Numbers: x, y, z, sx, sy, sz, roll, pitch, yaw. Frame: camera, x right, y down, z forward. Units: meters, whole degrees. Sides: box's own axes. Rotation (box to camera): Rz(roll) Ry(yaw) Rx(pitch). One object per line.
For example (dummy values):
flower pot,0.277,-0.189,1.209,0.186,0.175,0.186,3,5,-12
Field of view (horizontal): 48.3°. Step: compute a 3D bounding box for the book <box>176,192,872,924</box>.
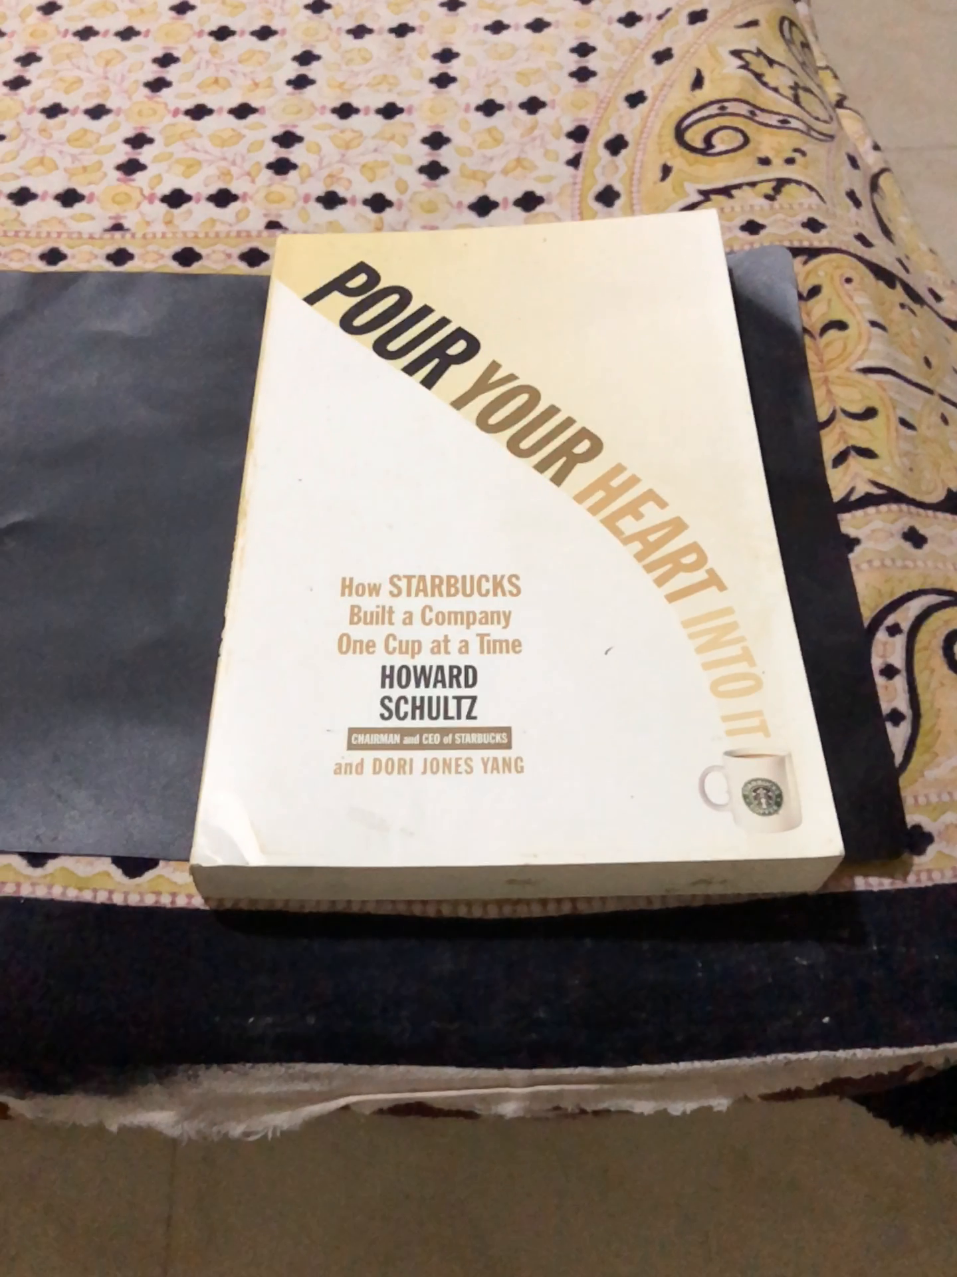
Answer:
book,0.009,-0.039,0.329,0.160,0.050,0.240,-1,58,0
